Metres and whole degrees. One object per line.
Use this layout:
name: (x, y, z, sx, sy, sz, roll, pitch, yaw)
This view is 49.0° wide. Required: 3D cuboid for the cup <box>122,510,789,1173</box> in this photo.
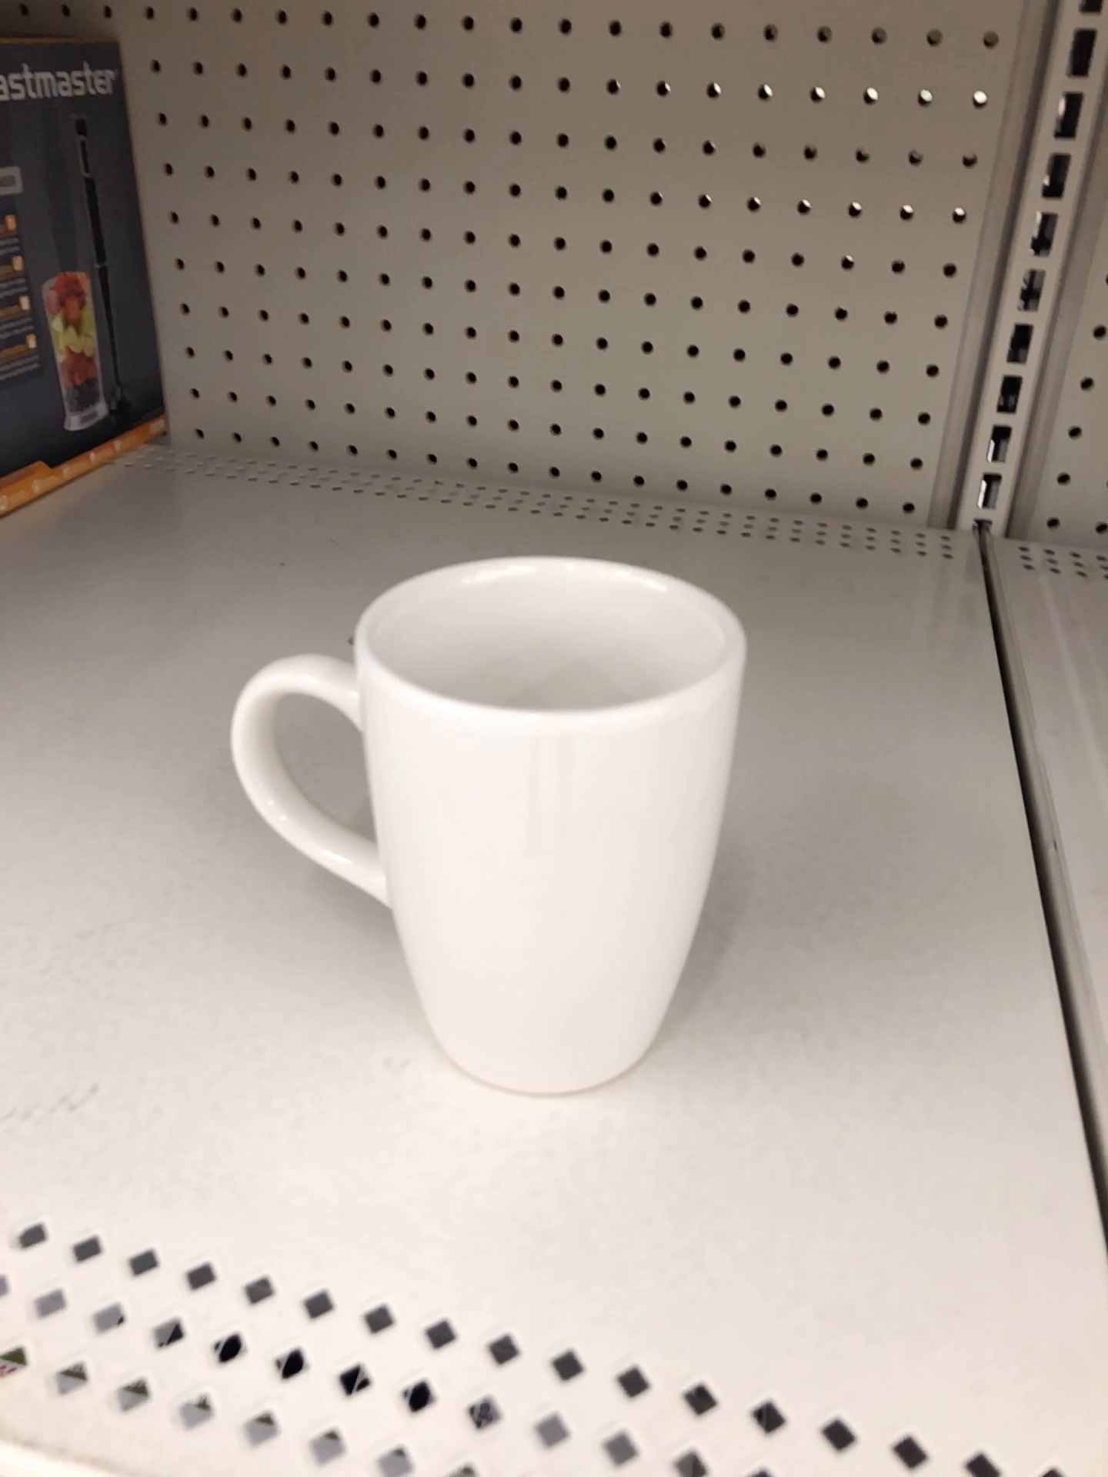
cup: (-0.021, 0.017, 0.297, 0.125, 0.105, 0.081, 14, 32, 22)
